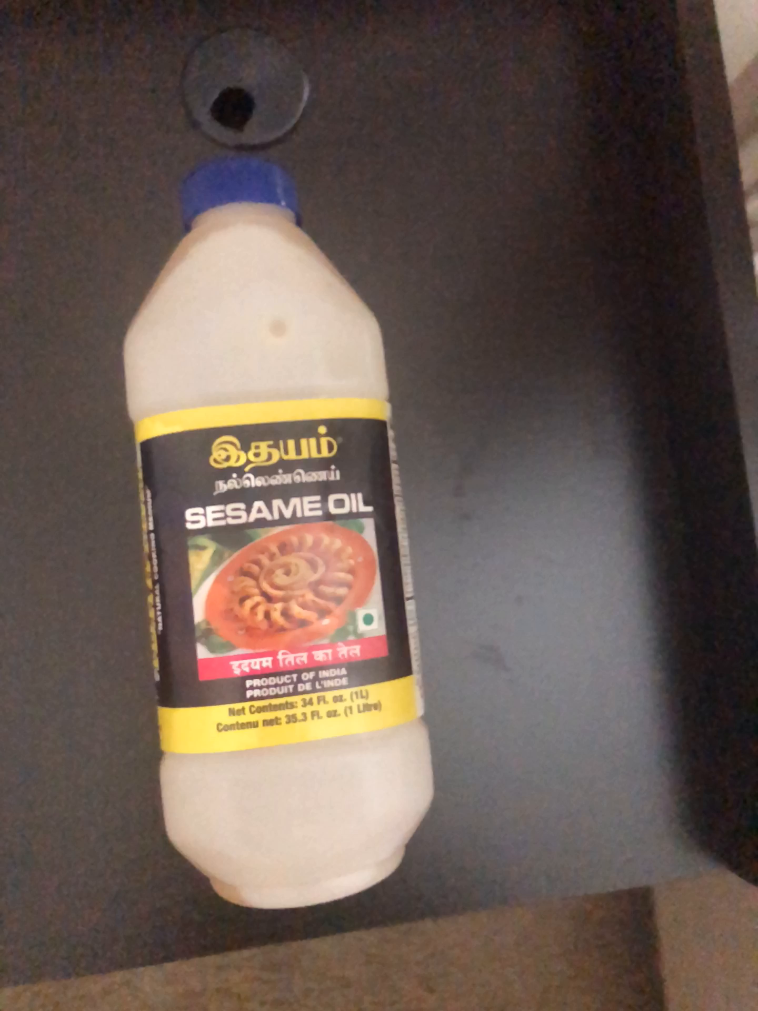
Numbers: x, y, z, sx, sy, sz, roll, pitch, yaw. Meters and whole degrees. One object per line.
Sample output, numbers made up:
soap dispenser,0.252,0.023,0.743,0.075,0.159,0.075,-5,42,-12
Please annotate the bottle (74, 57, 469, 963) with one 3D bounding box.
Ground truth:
bottle,-0.037,-0.003,0.284,0.090,0.090,0.250,-5,84,-7
